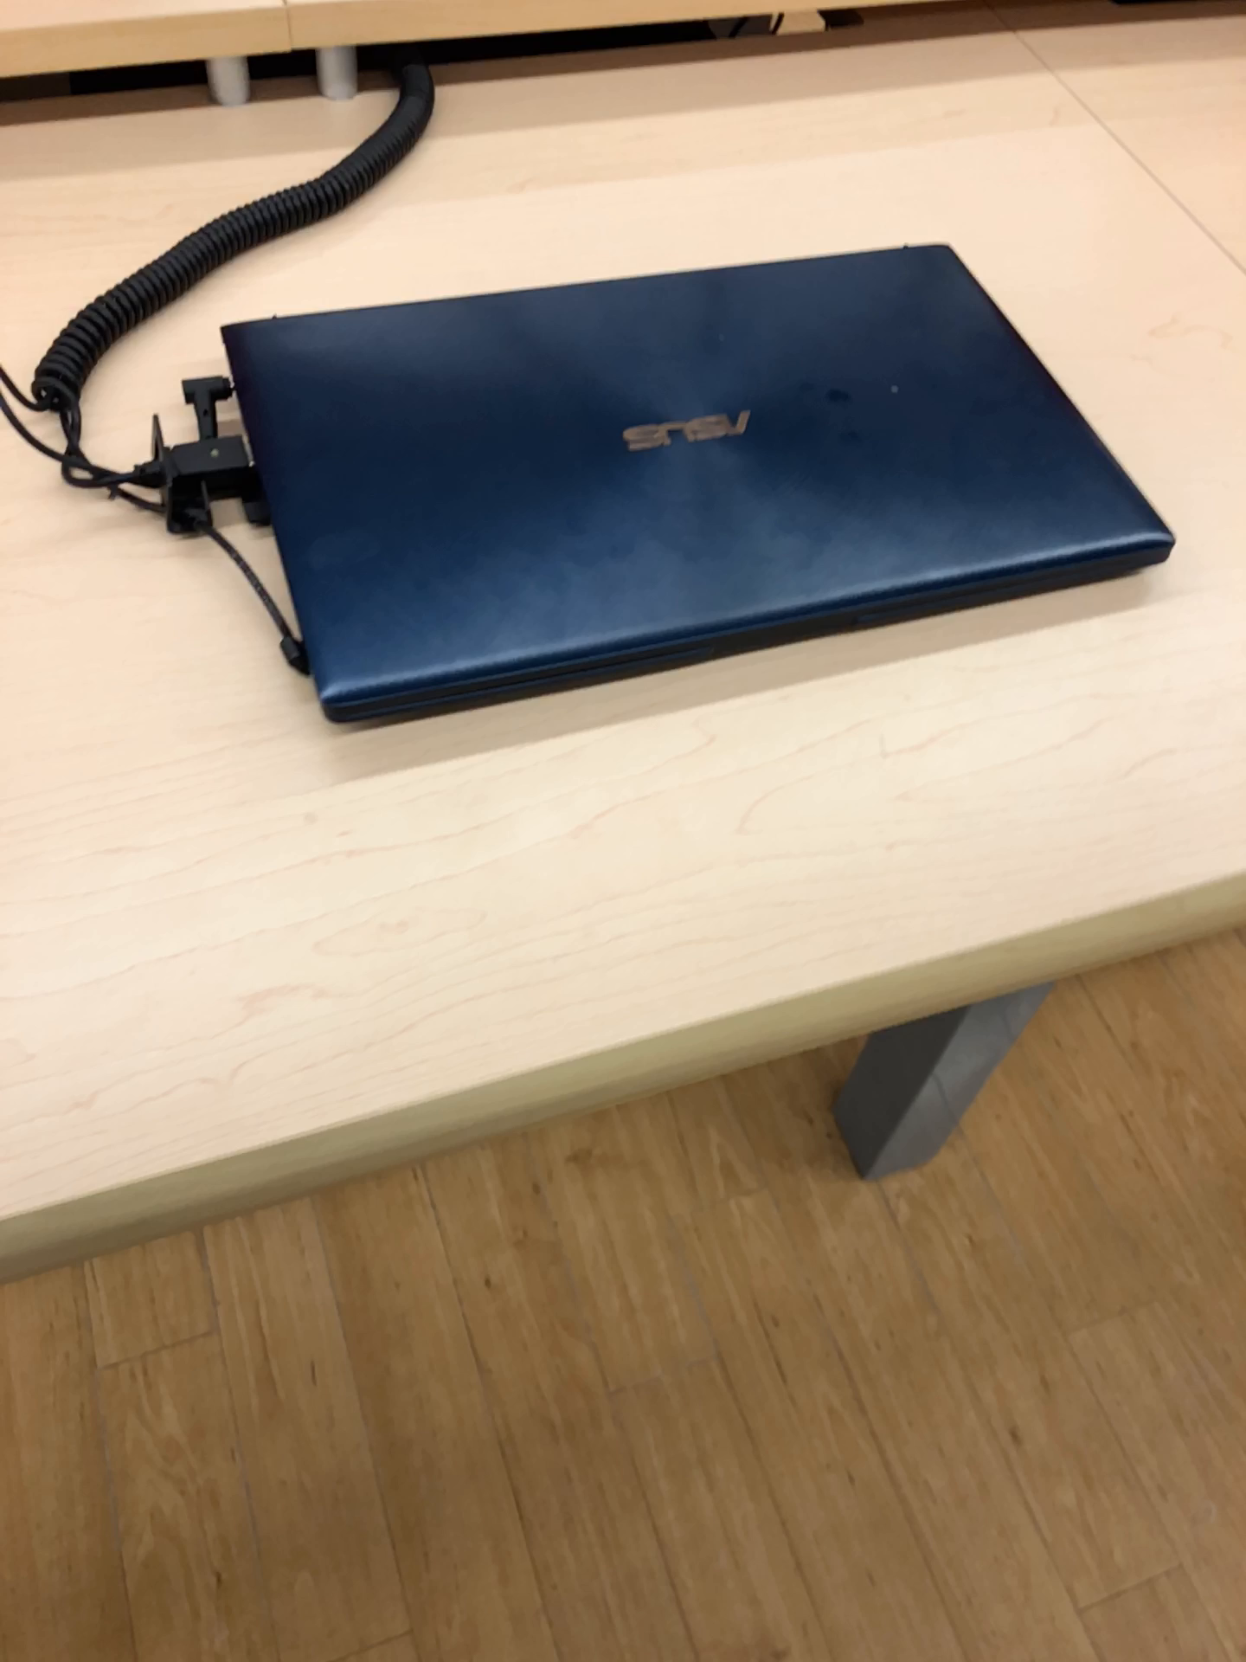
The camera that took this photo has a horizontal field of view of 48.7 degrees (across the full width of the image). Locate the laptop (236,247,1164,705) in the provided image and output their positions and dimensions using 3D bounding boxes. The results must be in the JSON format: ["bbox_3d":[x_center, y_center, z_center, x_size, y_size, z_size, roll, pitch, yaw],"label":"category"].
[{"bbox_3d":[0.024,-0.141,0.494,0.295,0.001,0.178,-13,58,-14],"label":"laptop"}]
